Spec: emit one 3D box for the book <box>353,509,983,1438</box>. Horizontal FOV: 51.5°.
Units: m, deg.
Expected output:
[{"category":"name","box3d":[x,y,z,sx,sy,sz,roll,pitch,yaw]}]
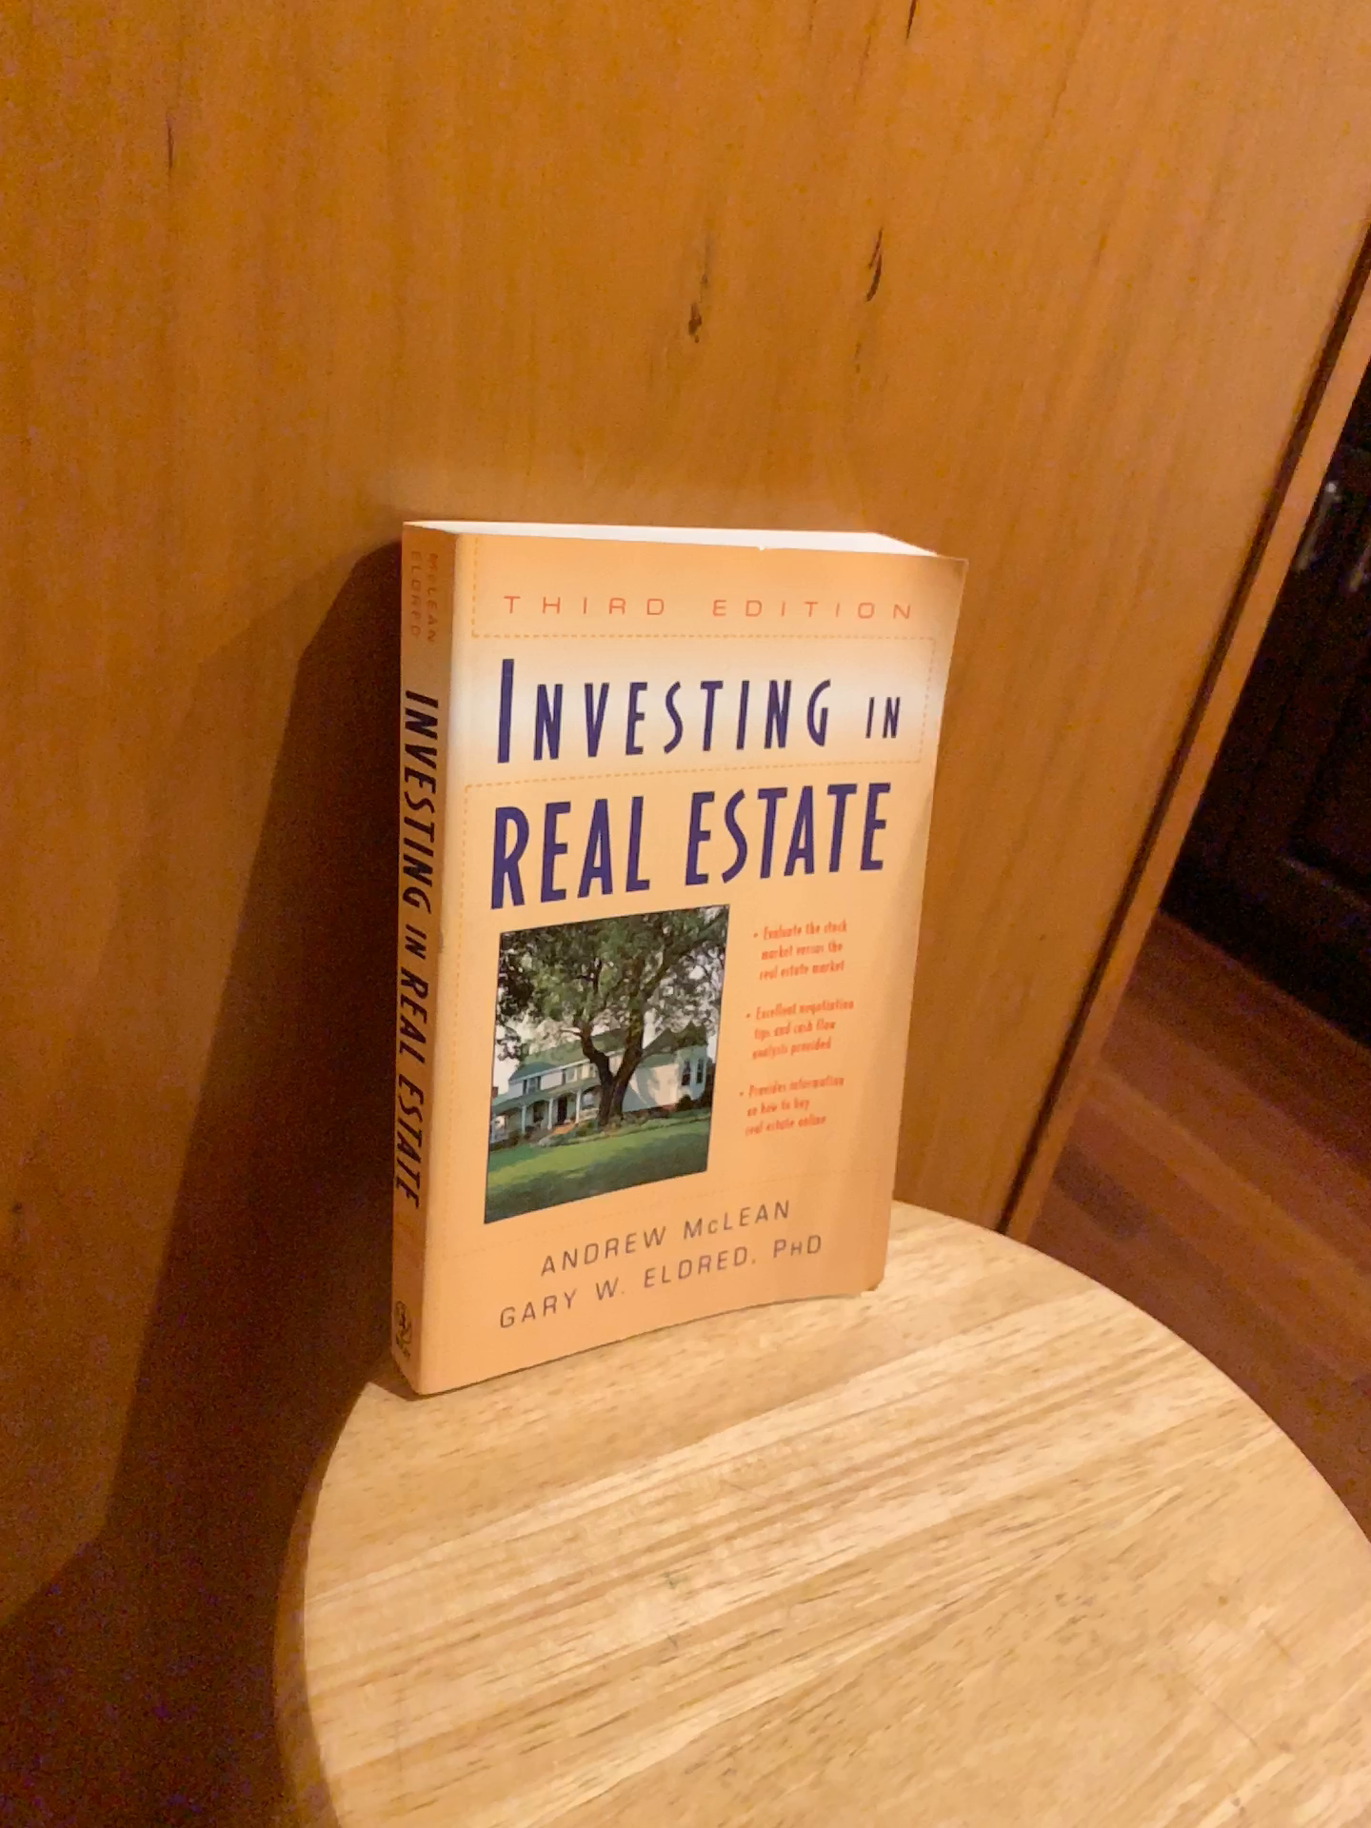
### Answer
[{"category":"book","box3d":[-0.007,0.011,0.398,0.160,0.229,0.050,-7,19,-32]}]
